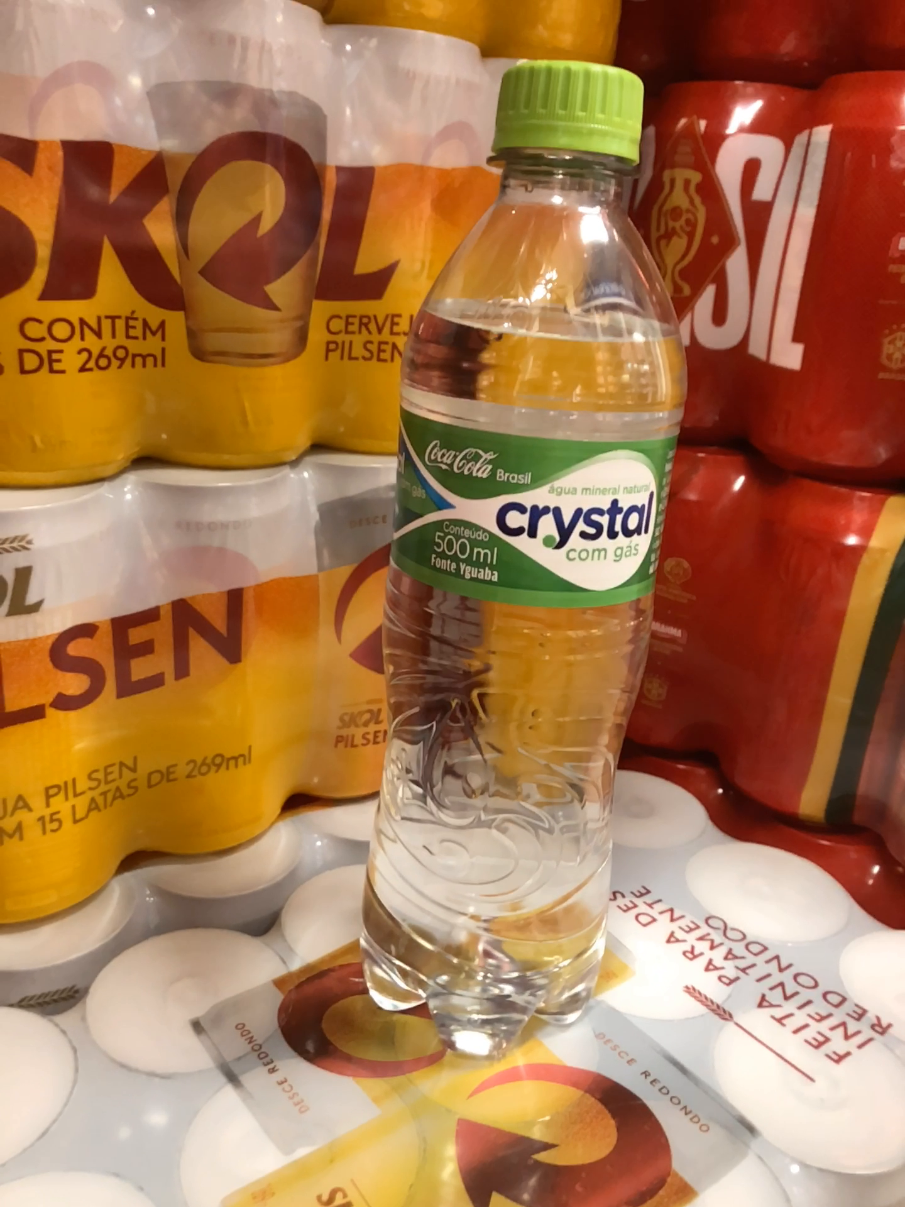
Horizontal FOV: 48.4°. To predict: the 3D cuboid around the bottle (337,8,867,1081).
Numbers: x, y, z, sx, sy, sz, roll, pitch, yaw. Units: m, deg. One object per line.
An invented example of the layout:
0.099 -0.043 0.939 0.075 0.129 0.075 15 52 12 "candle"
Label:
0.020 -0.003 0.232 0.070 0.219 0.060 -3 23 -20 "bottle"
